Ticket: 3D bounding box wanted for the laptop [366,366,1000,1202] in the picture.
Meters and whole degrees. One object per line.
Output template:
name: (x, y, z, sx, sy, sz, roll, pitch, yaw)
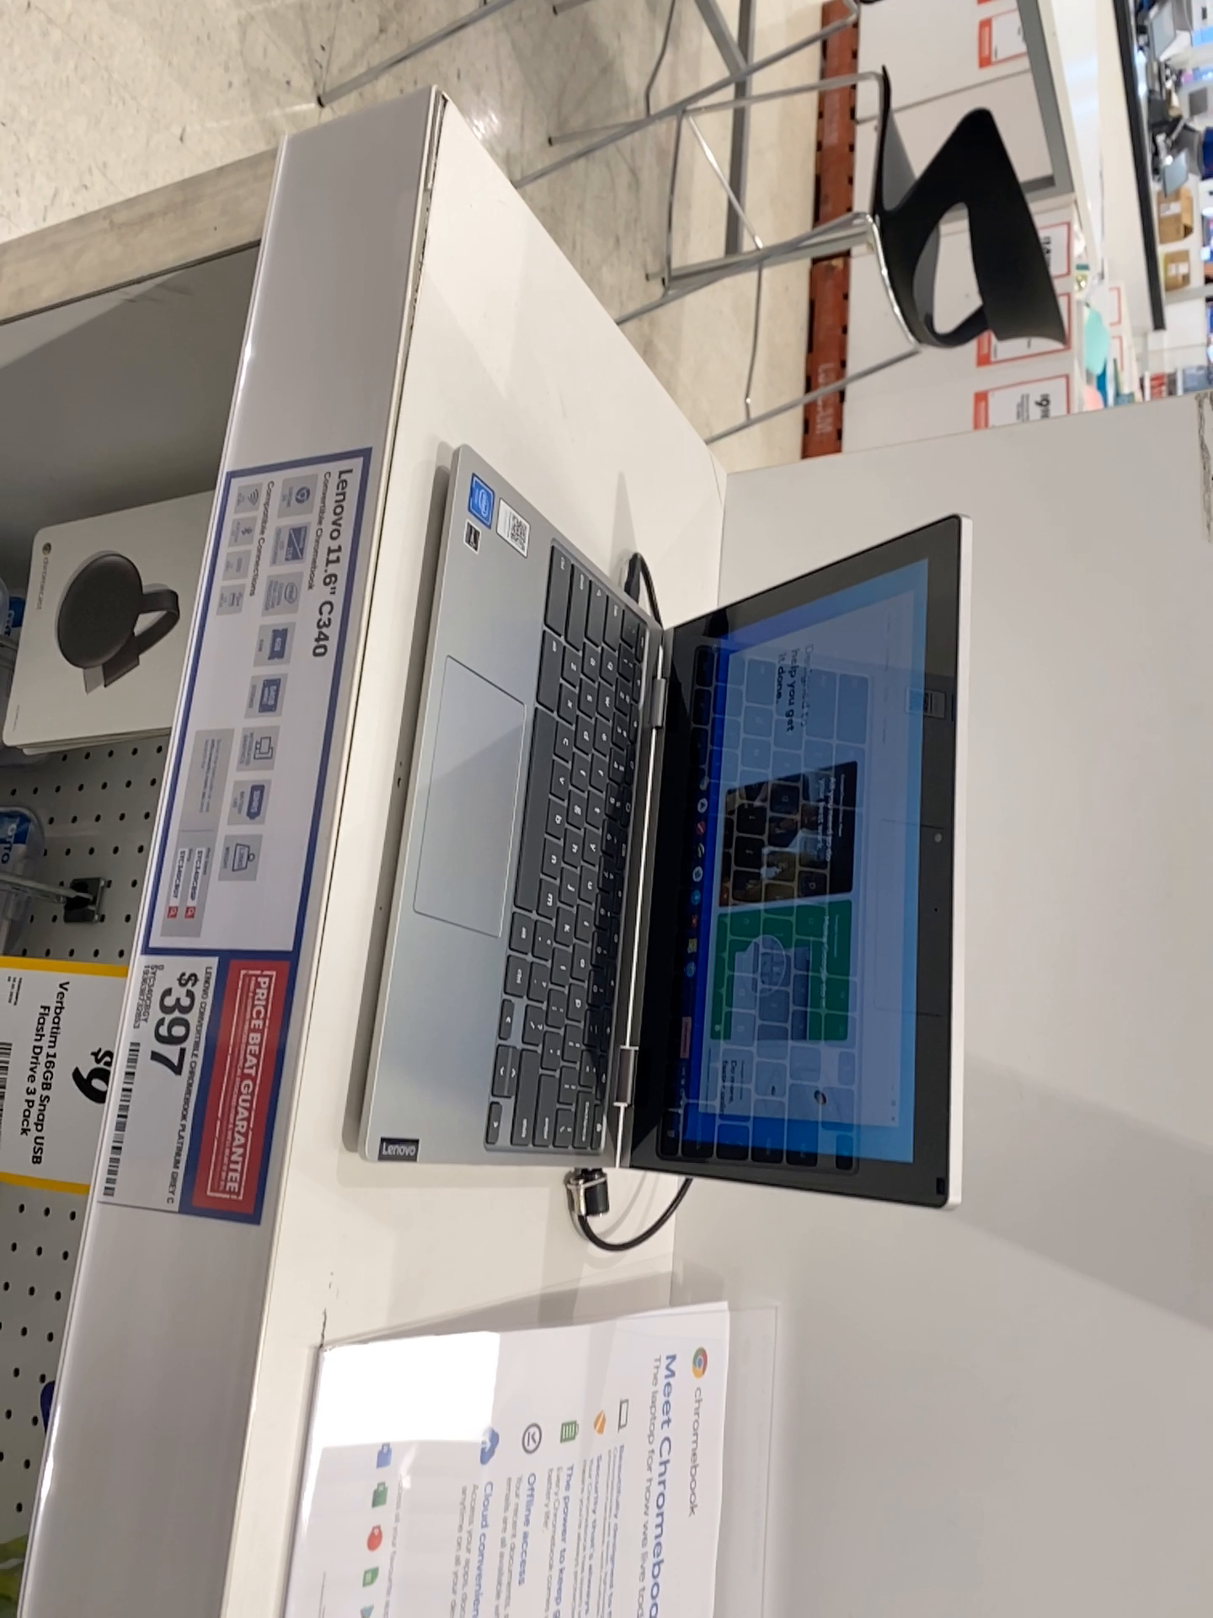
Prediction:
laptop: (0.054, 0.010, 0.528, 0.201, 0.180, 0.284, 31, 61, -58)
